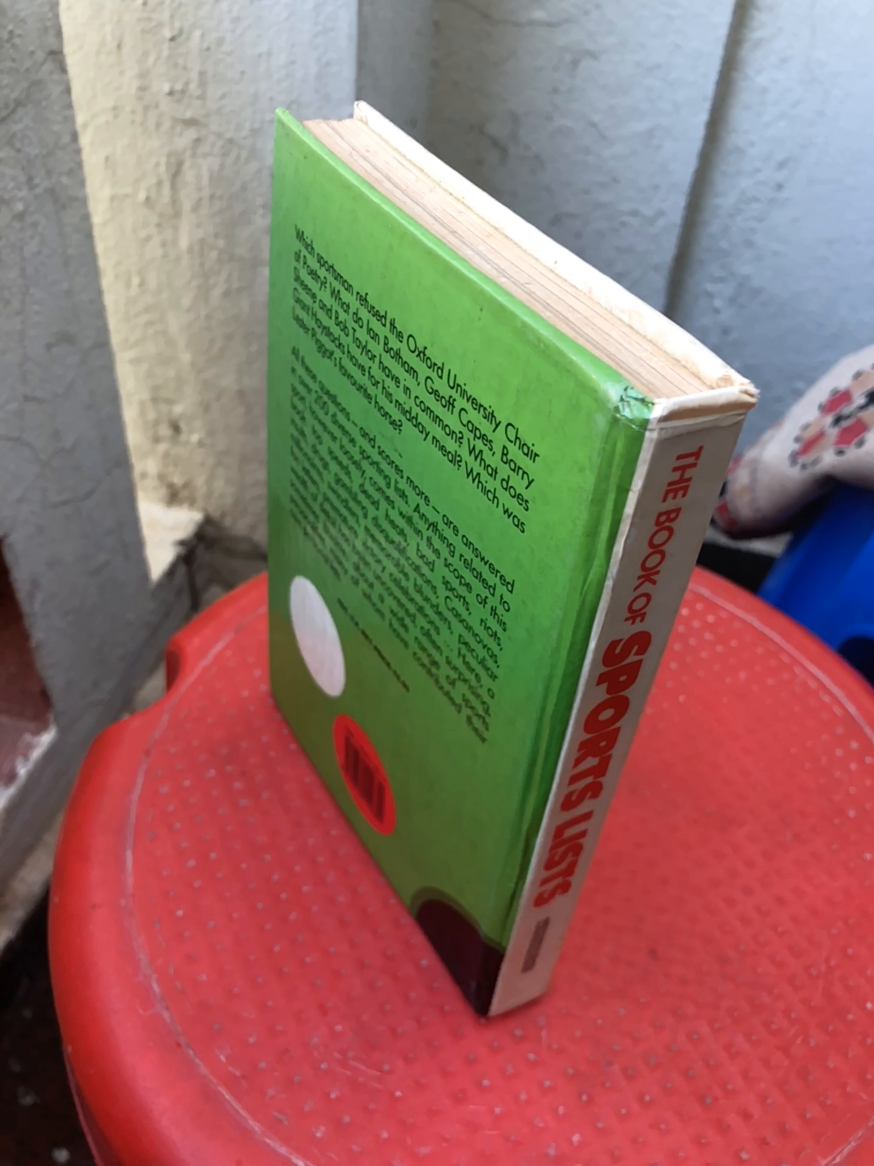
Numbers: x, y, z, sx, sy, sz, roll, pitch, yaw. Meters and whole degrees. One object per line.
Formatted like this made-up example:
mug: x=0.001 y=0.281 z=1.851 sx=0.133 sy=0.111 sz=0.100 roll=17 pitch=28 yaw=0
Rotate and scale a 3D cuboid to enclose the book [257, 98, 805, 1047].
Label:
book: x=-0.001 y=0.006 z=0.274 sx=0.030 sy=0.219 sz=0.150 roll=-19 pitch=47 yaw=-27
